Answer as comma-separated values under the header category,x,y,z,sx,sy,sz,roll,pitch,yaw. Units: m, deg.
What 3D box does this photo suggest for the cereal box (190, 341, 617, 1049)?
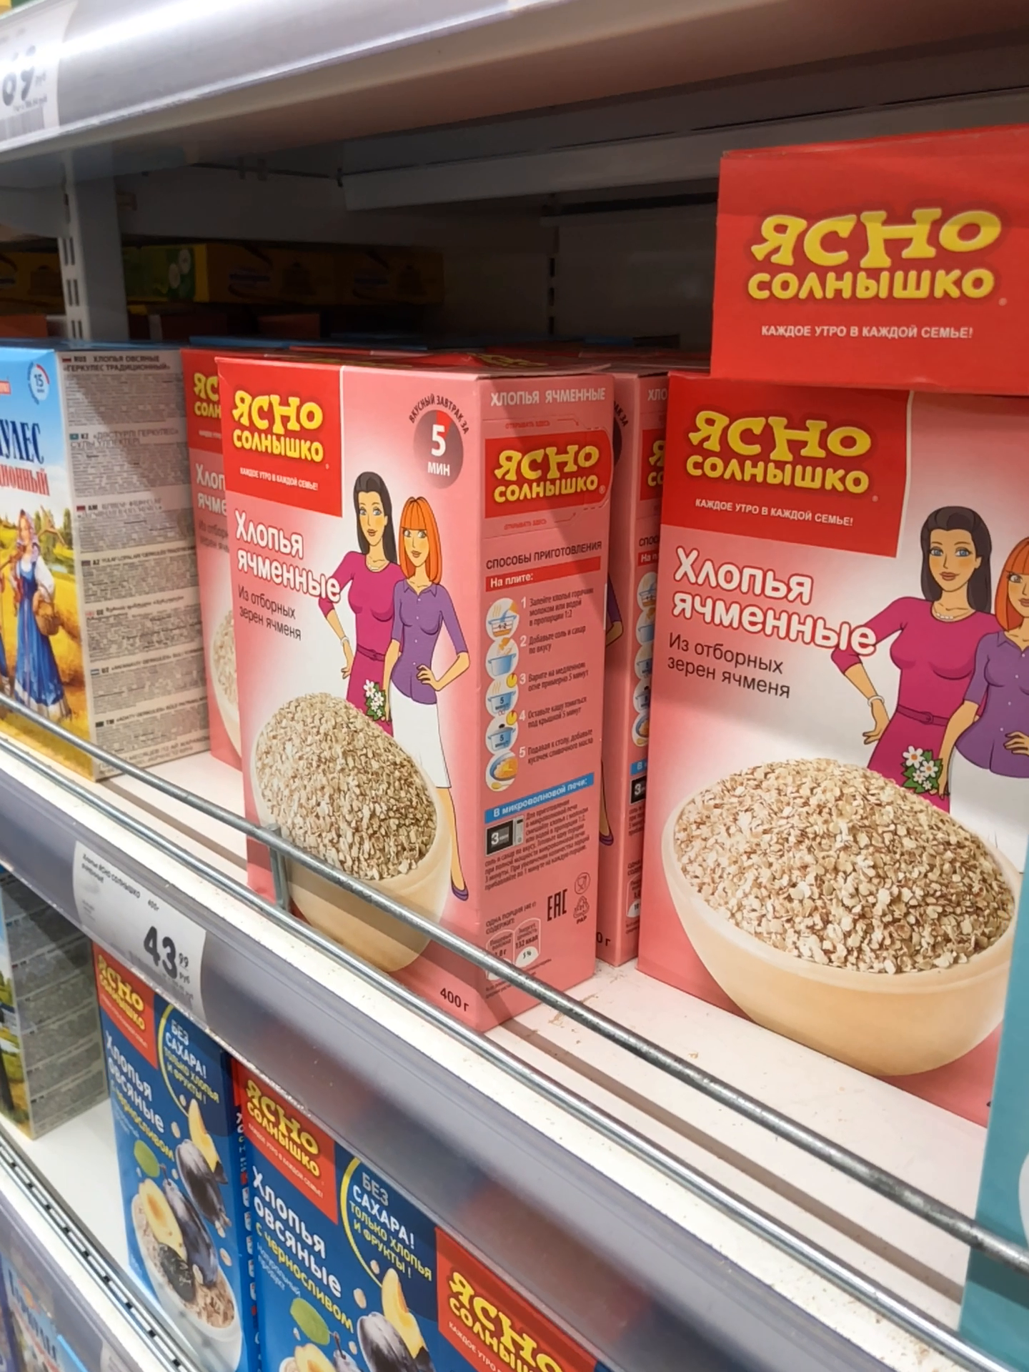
category,x,y,z,sx,sy,sz,roll,pitch,yaw
cereal box,-0.040,-0.009,0.360,0.050,0.189,0.140,-14,22,-40
